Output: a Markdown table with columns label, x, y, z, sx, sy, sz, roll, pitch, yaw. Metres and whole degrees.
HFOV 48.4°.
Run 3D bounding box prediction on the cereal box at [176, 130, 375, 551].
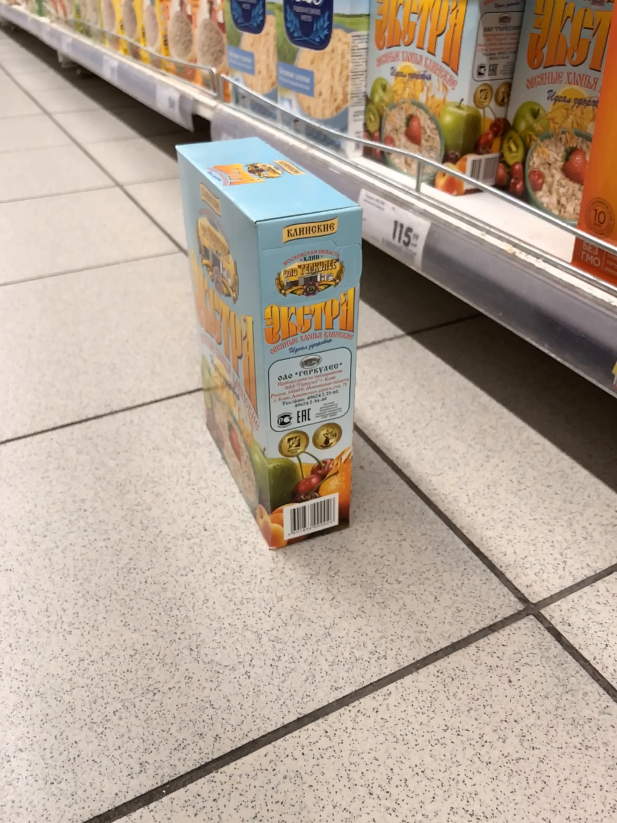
| label | x | y | z | sx | sy | sz | roll | pitch | yaw |
| --- | --- | --- | --- | --- | --- | --- | --- | --- | --- |
| cereal box | -0.024 | -0.047 | 0.429 | 0.060 | 0.209 | 0.151 | -13 | 36 | -18 |
